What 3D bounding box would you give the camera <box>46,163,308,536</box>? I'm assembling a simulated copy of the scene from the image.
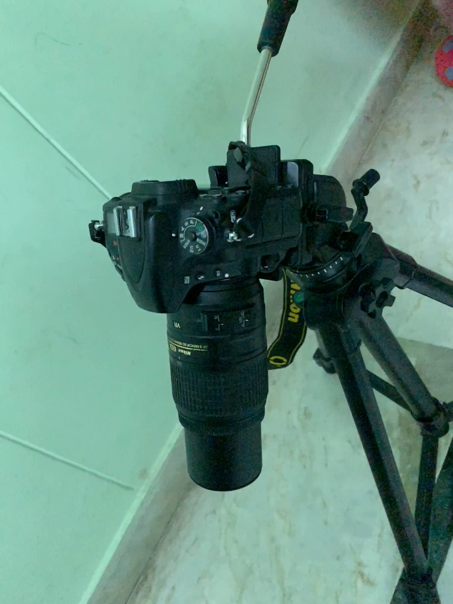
[{"bbox_3d":[-0.032,0.014,0.336,0.116,0.214,0.131,-16,22,-40],"label":"camera"}]
